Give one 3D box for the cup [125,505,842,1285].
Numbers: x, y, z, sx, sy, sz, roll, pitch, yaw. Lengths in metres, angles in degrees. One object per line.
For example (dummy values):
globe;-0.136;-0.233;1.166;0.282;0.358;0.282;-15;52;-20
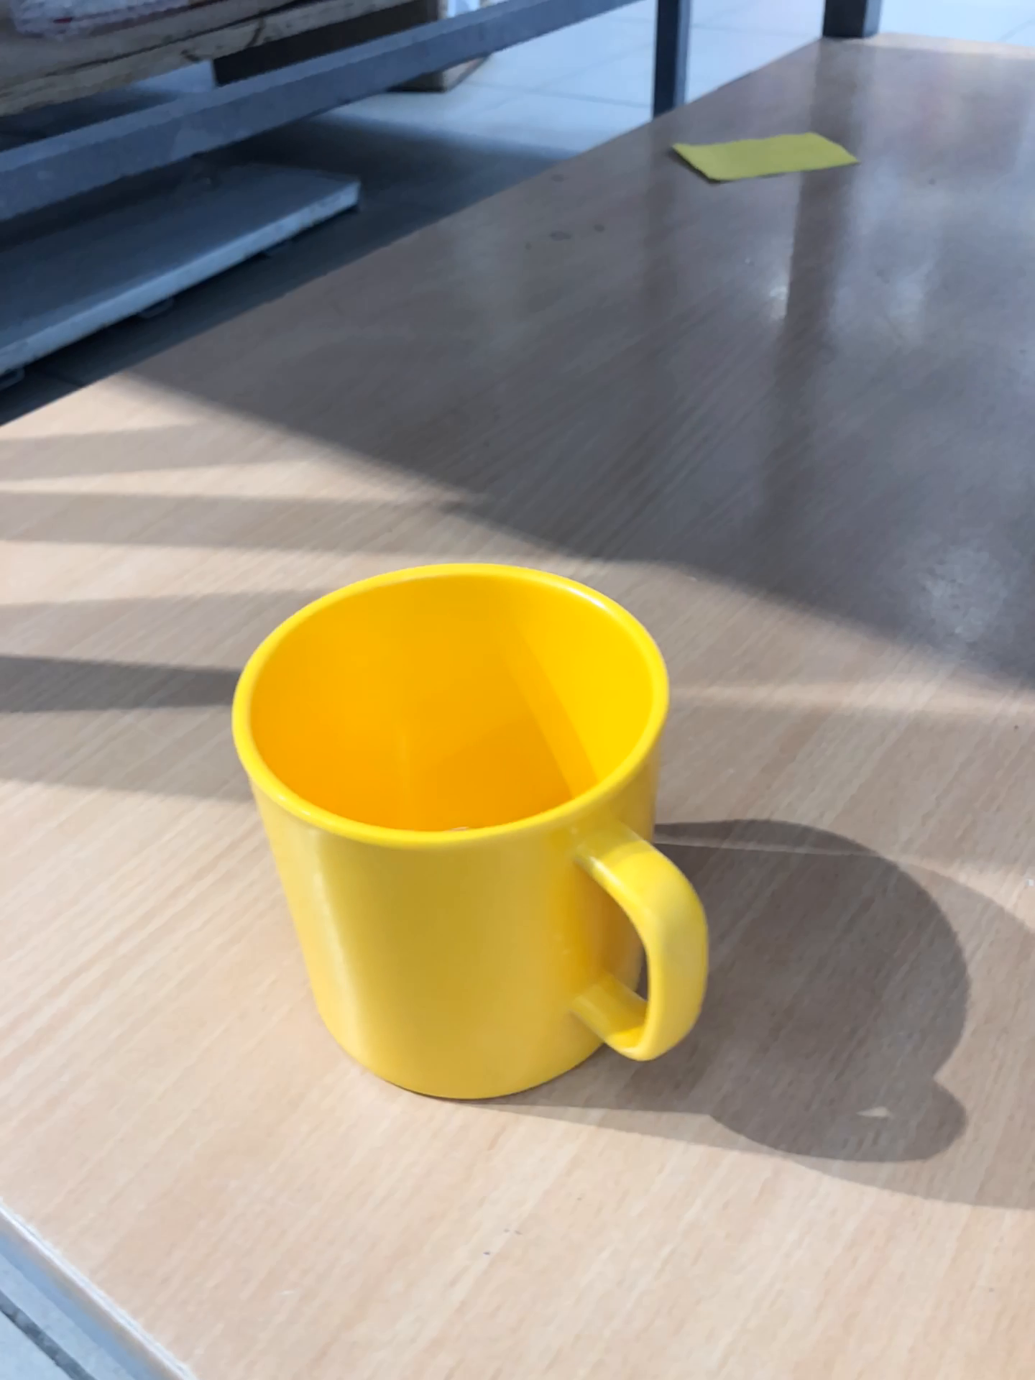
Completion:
cup;-0.008;0.035;0.242;0.080;0.089;0.110;-32;47;-31
